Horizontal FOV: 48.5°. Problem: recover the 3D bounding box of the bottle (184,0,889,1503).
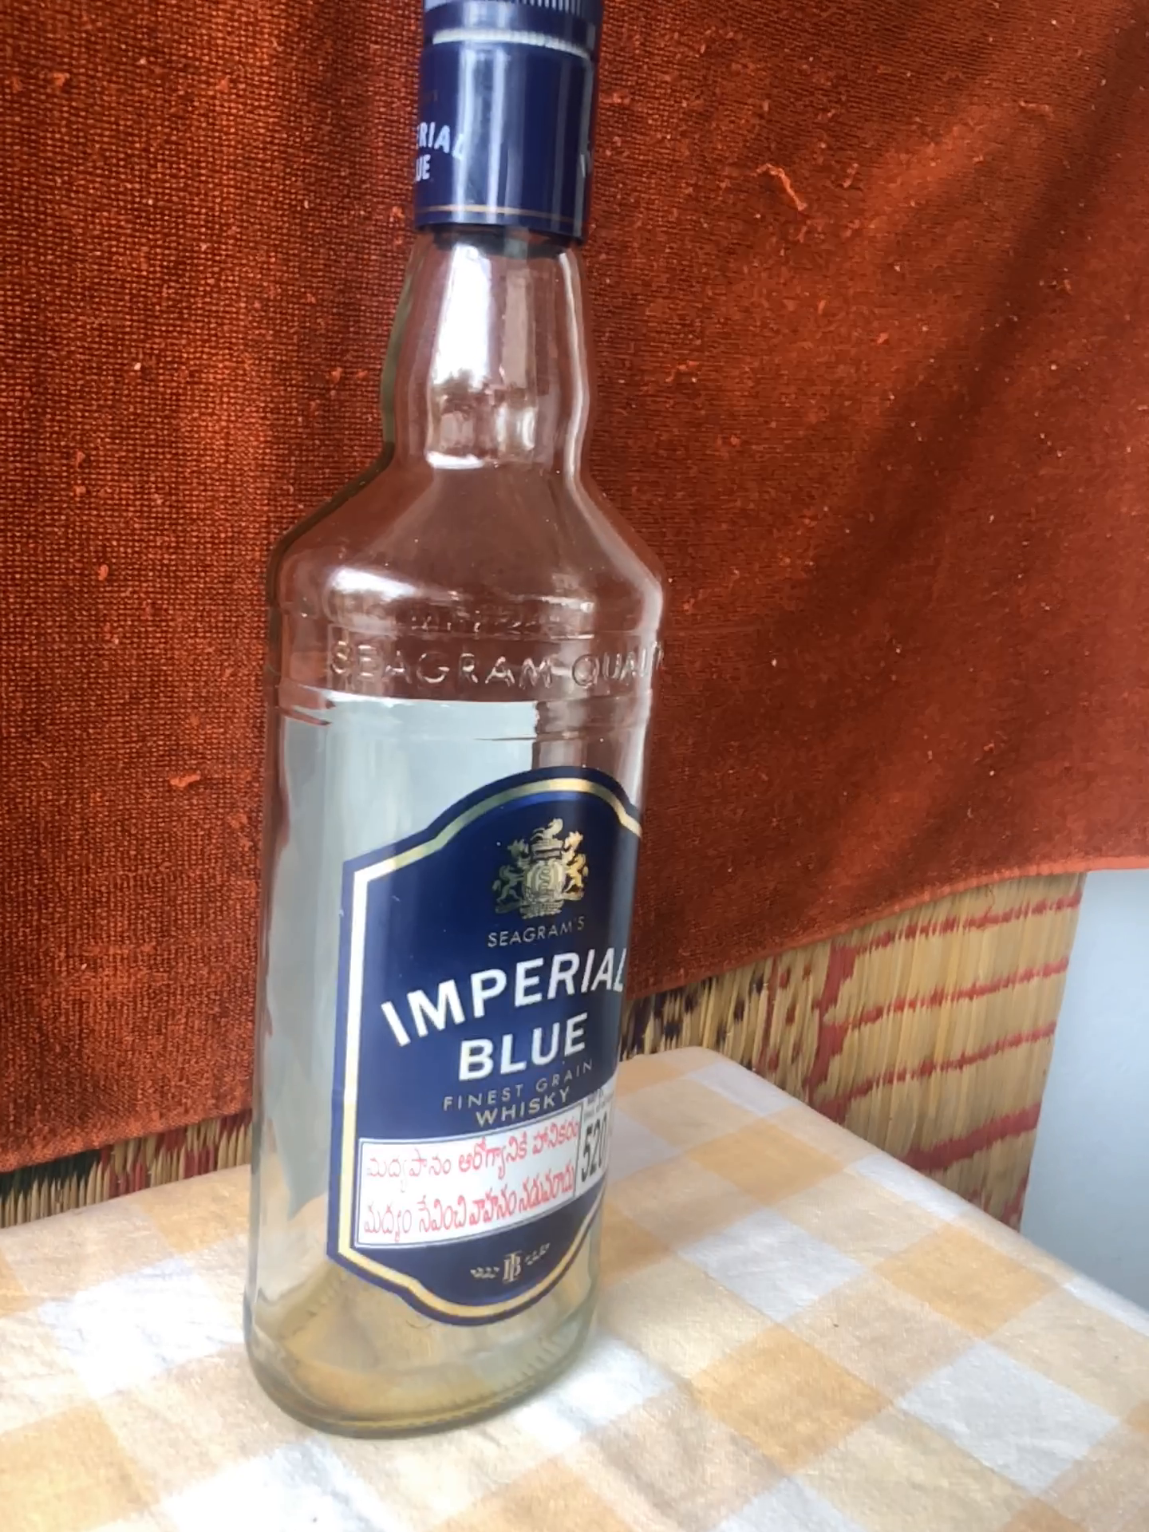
[{"bbox_3d":[-0.019,-0.018,0.263,0.090,0.309,0.070,-3,17,-33],"label":"bottle"}]
